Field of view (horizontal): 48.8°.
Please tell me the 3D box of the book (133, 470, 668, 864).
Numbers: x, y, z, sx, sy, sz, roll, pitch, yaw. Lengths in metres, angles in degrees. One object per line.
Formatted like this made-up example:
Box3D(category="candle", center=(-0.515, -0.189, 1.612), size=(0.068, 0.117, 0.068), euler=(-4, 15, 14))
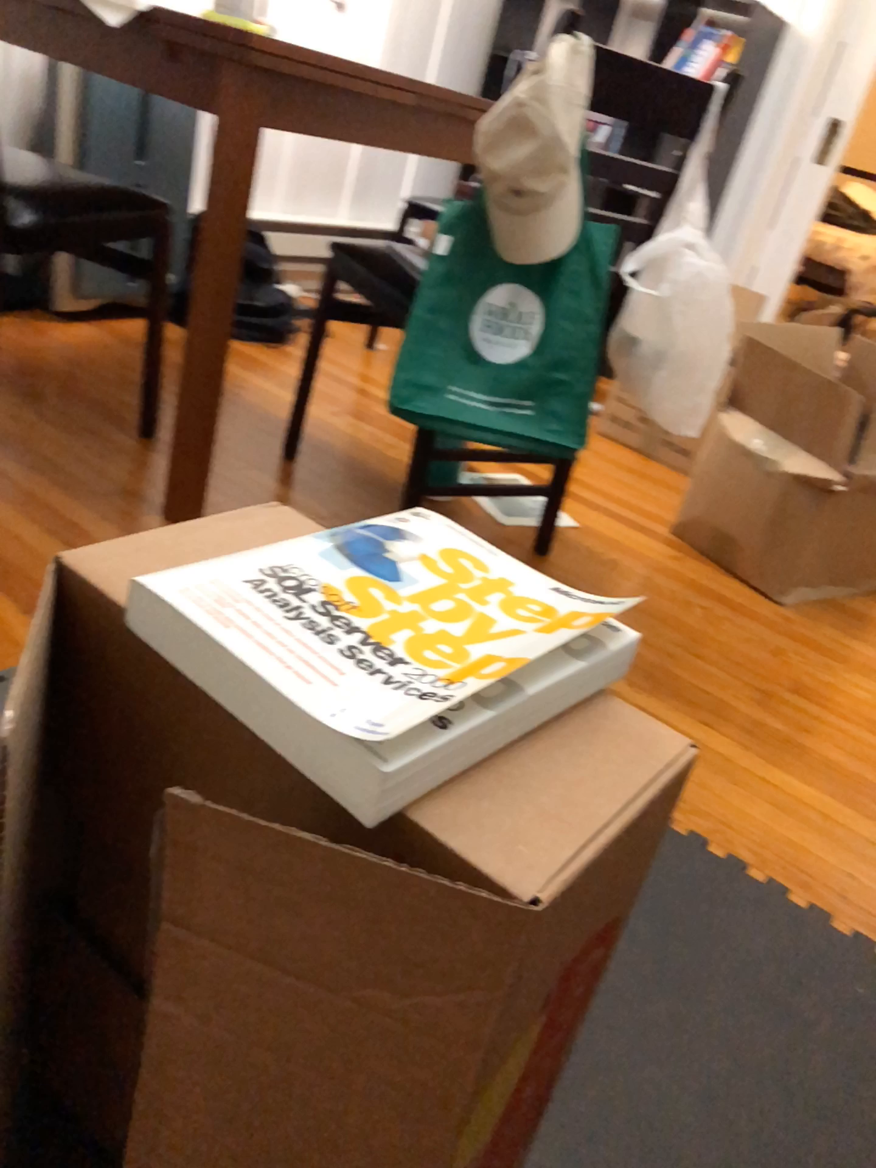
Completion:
Box3D(category="book", center=(-0.010, 0.023, 0.556), size=(0.200, 0.050, 0.241), euler=(31, 32, 23))
